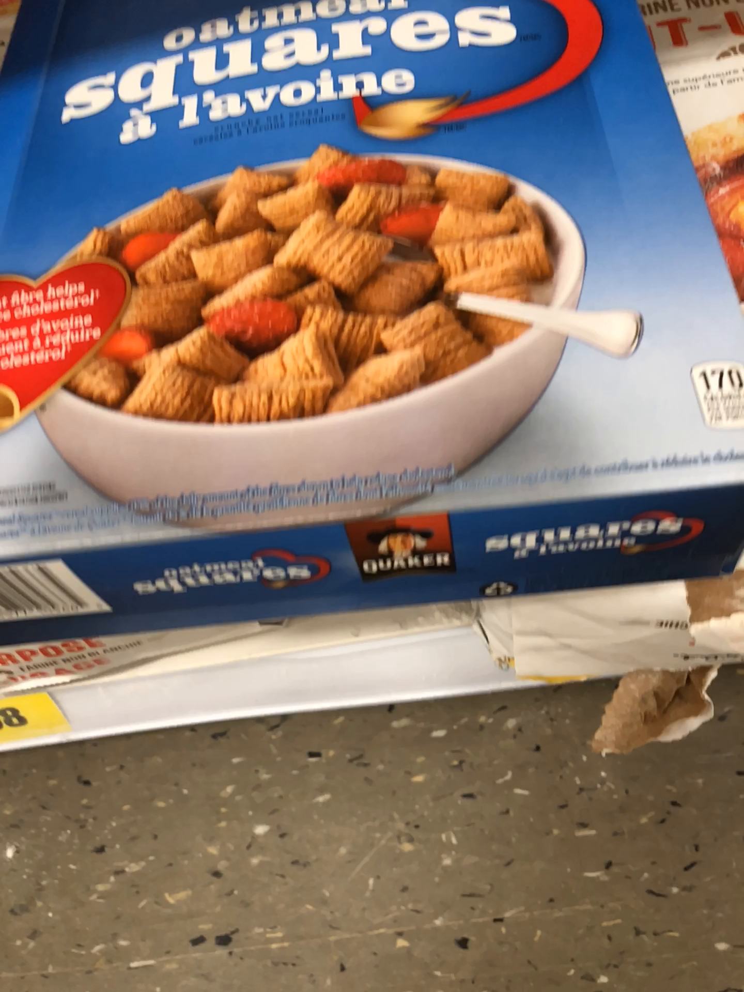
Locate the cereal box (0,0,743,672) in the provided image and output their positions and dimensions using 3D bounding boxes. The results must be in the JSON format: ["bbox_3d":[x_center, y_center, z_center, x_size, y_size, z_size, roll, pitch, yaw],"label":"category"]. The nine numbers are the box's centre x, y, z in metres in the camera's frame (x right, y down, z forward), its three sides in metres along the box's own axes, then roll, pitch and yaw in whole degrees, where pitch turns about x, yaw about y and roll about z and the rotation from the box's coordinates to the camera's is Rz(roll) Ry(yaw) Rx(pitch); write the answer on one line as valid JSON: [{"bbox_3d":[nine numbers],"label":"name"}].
[{"bbox_3d":[-0.011,-0.098,0.270,0.210,0.060,0.280,-7,59,7],"label":"cereal box"}]
